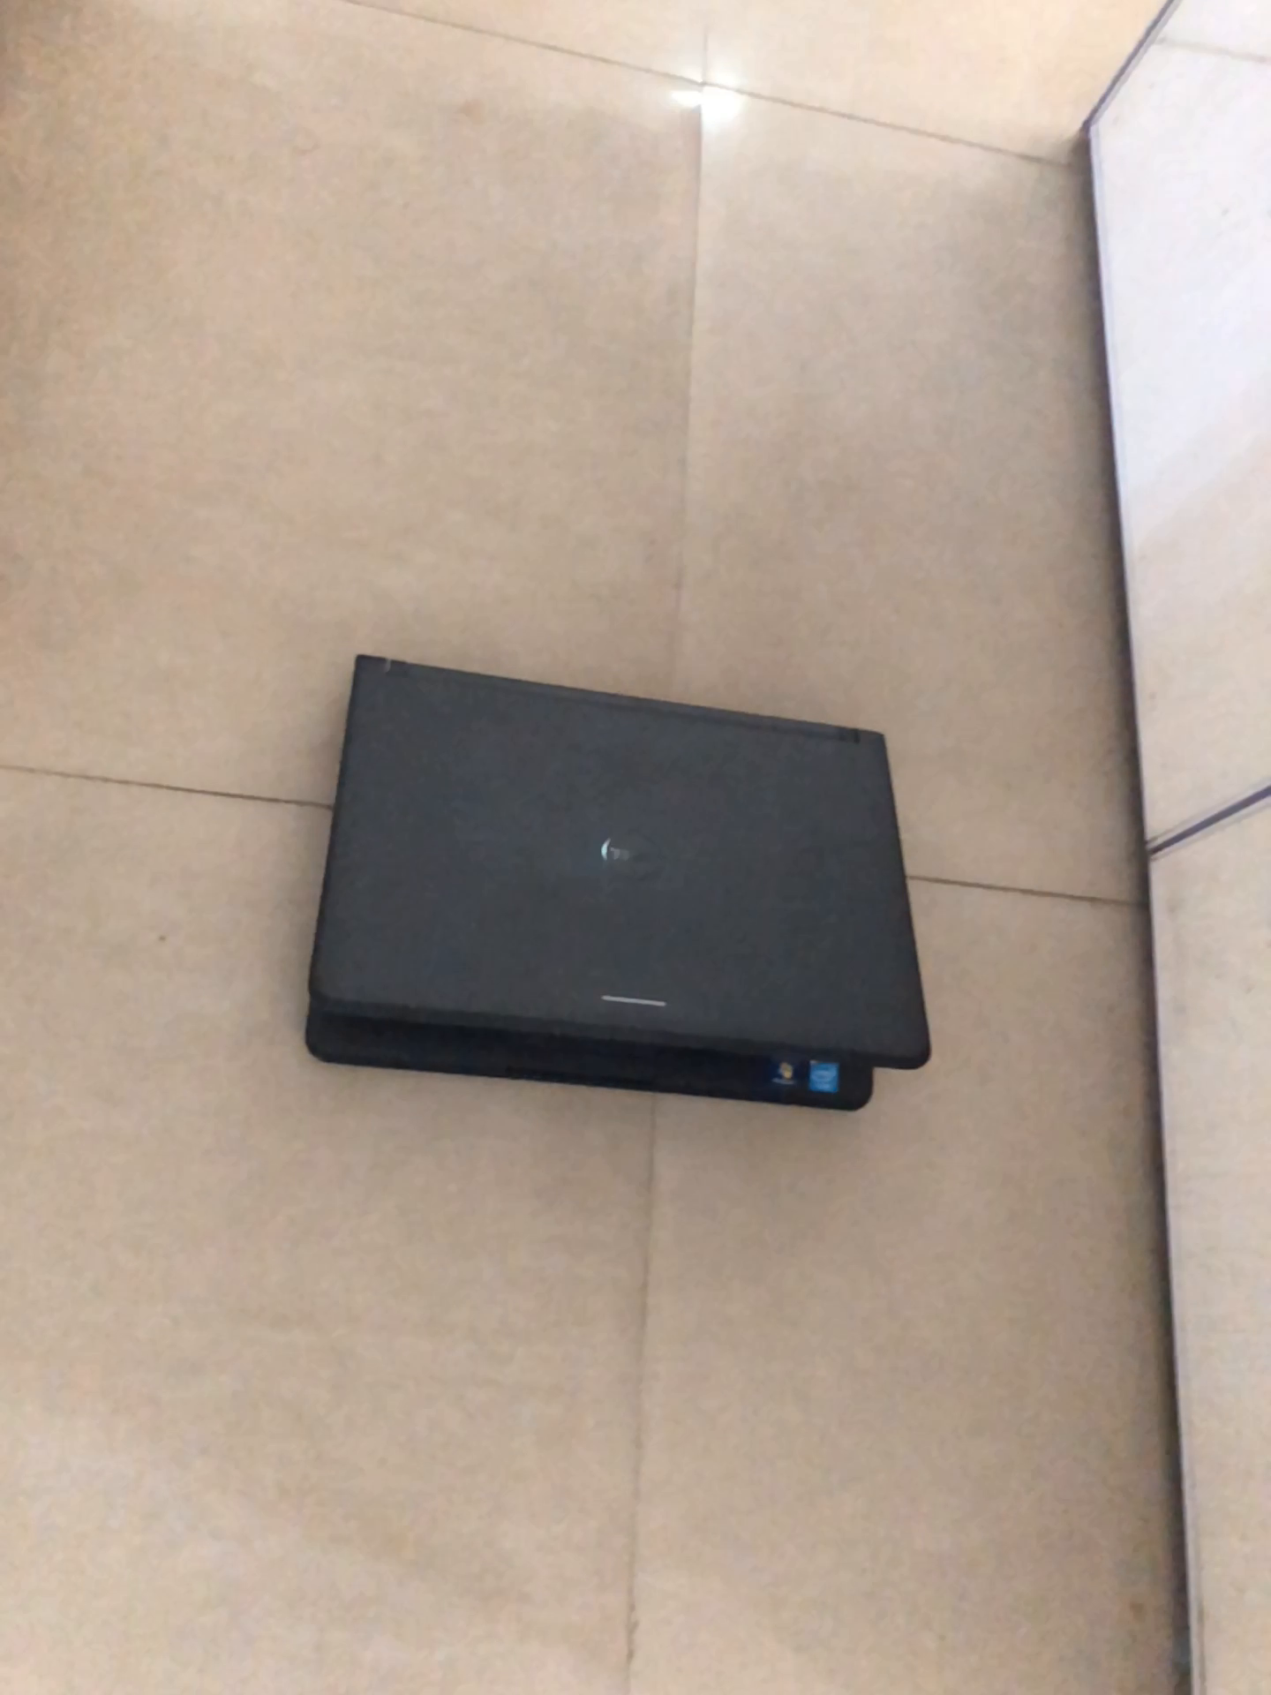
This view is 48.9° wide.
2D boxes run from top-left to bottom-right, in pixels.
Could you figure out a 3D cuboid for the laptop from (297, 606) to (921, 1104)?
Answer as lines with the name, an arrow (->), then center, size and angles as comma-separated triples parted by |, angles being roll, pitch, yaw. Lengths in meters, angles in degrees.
laptop -> -0.009, 0.010, 0.772 | 0.314, 0.064, 0.220 | 8, 76, -10
